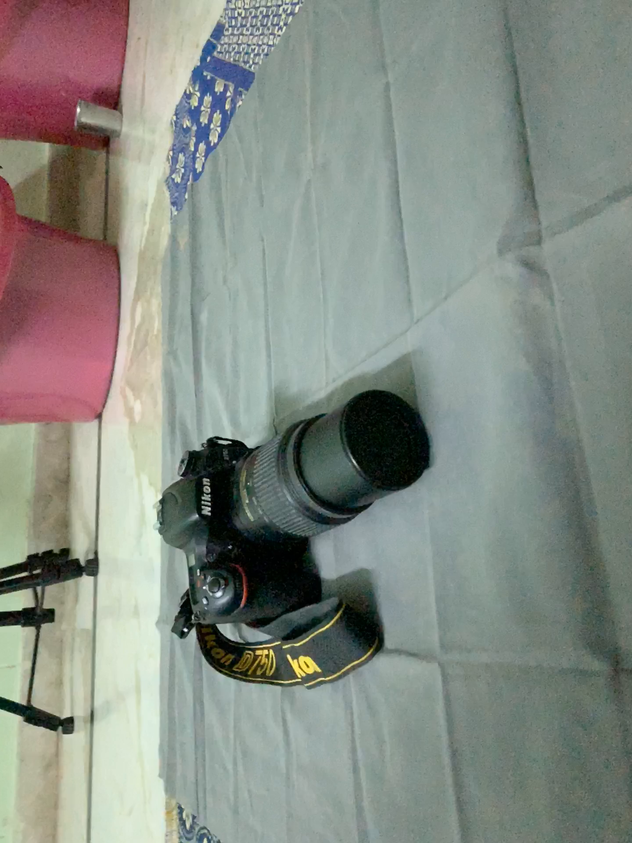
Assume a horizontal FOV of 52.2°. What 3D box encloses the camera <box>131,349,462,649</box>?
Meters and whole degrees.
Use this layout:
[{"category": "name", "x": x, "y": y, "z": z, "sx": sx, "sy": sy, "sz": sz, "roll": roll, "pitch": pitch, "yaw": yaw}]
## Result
[{"category": "camera", "x": -0.044, "y": 0.078, "z": 0.457, "sx": 0.289, "sy": 0.109, "sz": 0.147, "roll": -33, "pitch": 58, "yaw": 57}]
